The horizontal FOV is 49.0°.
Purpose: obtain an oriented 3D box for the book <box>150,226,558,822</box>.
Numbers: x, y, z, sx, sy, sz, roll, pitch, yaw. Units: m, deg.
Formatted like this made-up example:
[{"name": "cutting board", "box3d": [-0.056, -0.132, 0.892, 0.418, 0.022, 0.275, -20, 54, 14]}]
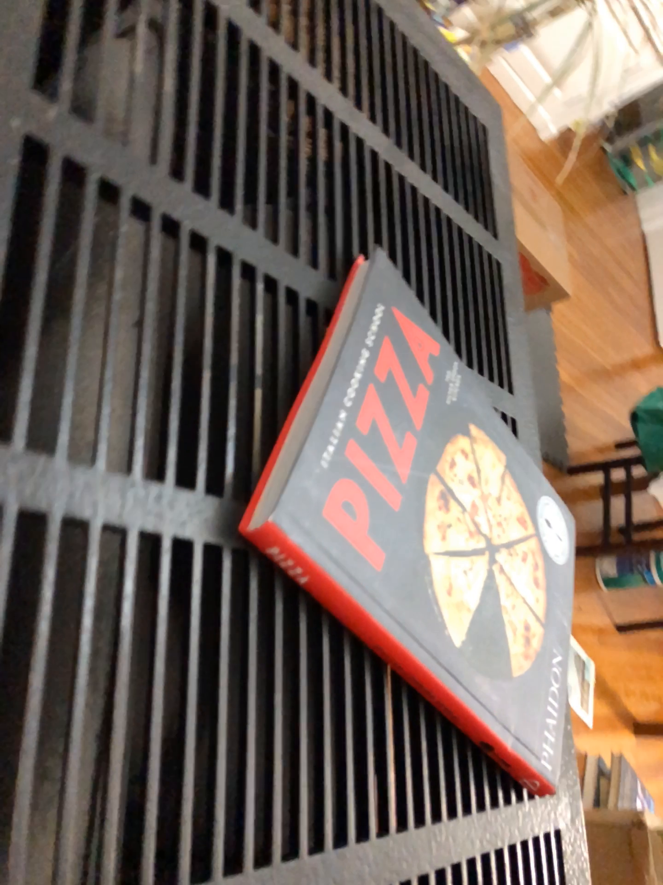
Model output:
[{"name": "book", "box3d": [0.041, 0.041, 0.346, 0.230, 0.020, 0.181, 47, 45, -30]}]
